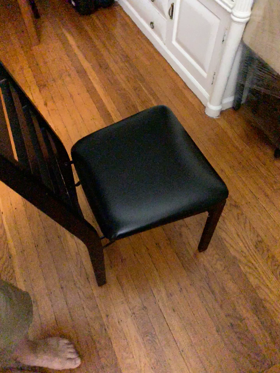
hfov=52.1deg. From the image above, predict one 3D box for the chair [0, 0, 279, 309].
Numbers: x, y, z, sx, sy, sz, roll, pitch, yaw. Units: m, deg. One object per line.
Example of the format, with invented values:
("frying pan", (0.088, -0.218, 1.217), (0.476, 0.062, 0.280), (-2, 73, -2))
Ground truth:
("chair", (-0.021, -0.094, 0.816), (0.550, 0.867, 0.492), (-22, 60, -14))
